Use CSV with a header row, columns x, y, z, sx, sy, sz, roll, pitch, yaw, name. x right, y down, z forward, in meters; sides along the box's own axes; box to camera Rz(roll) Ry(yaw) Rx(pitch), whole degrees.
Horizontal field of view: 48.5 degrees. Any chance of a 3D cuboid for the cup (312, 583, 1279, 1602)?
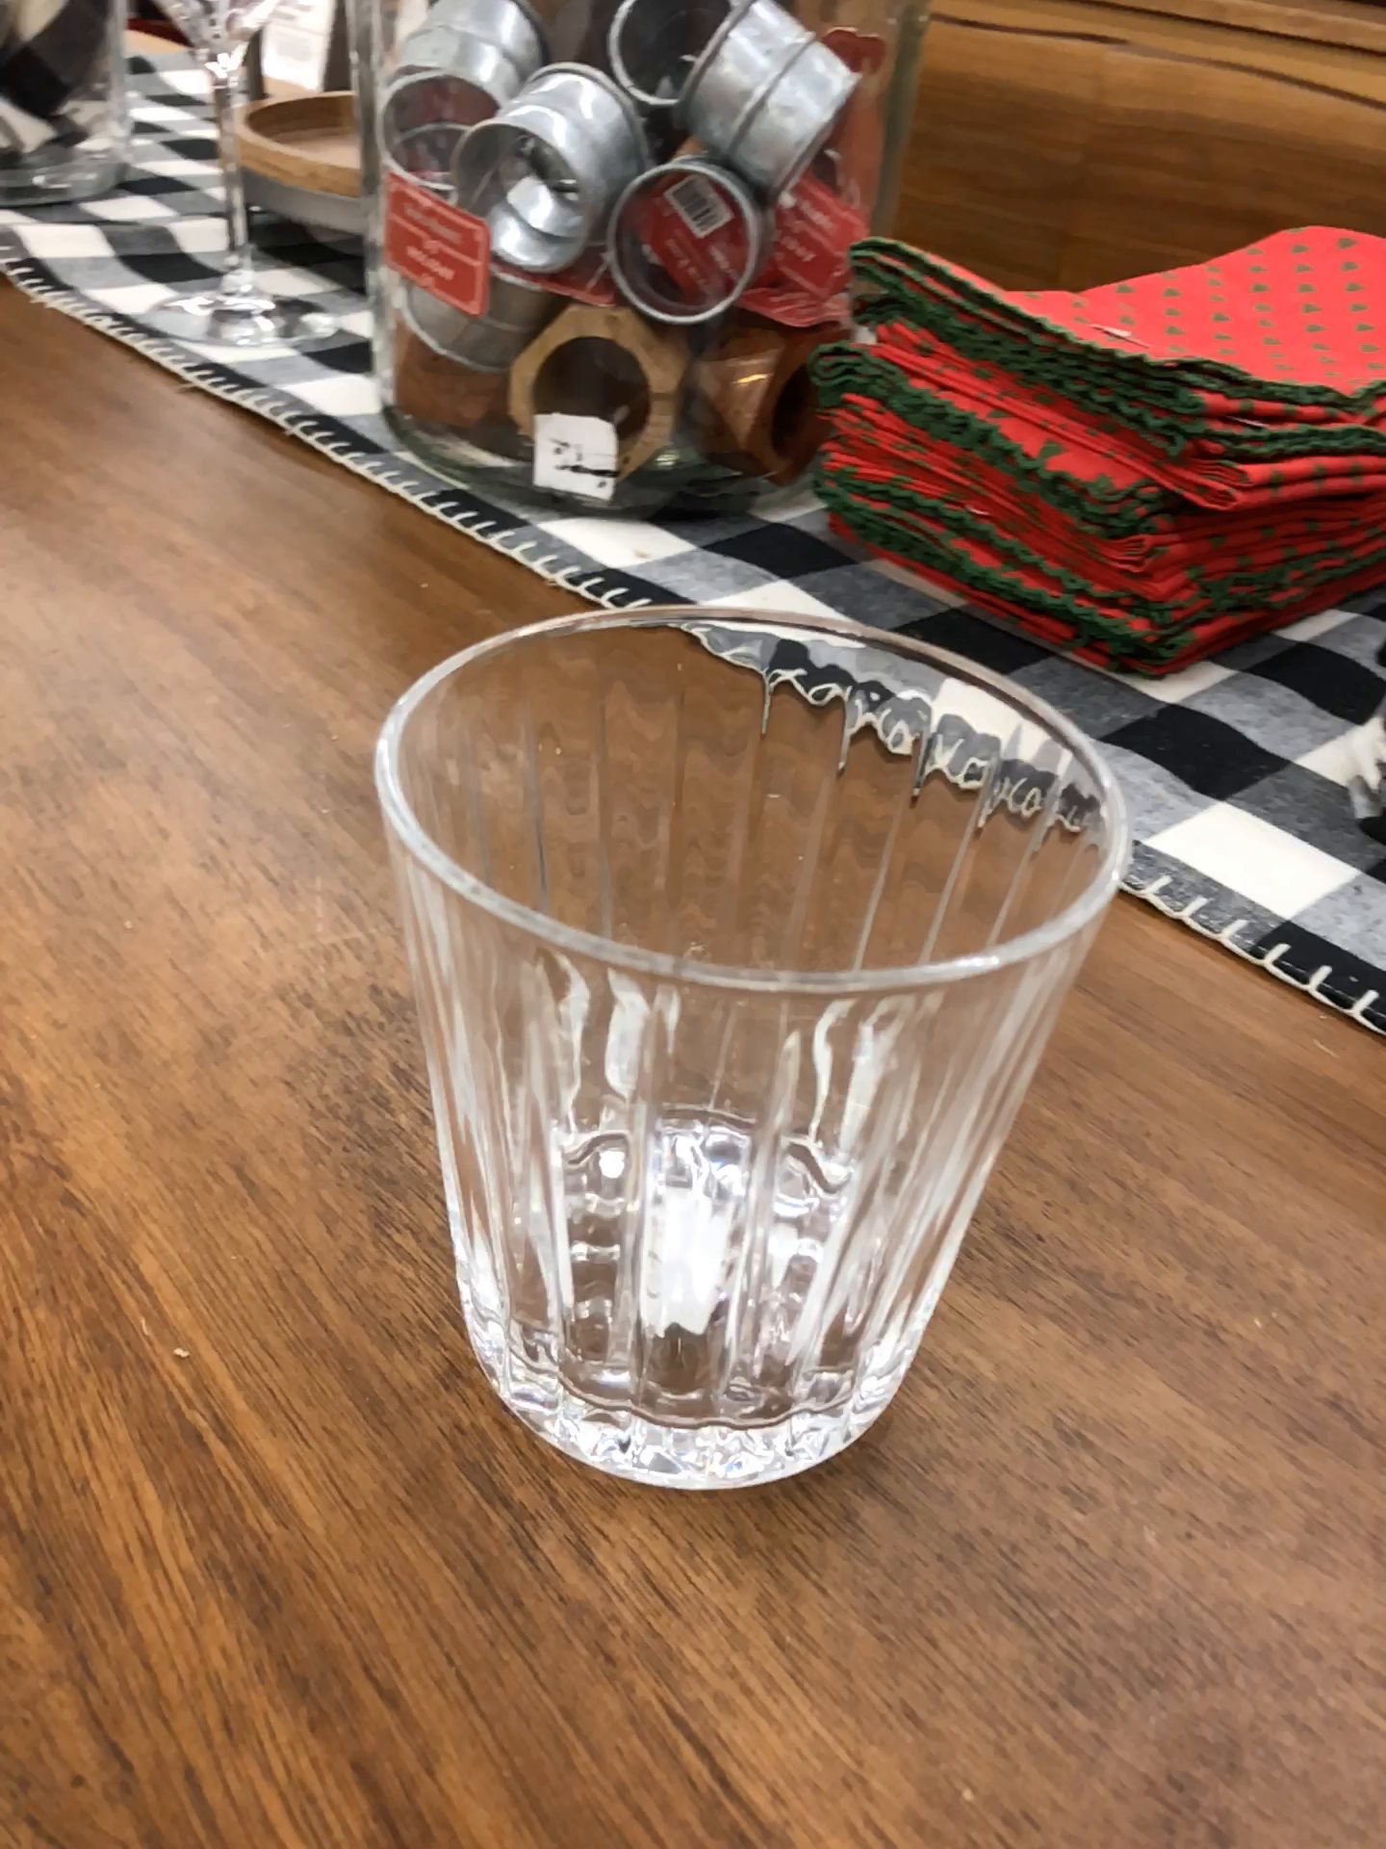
x,y,z,sx,sy,sz,roll,pitch,yaw,name
0.005,0.017,0.222,0.093,0.093,0.090,3,36,-2,cup
